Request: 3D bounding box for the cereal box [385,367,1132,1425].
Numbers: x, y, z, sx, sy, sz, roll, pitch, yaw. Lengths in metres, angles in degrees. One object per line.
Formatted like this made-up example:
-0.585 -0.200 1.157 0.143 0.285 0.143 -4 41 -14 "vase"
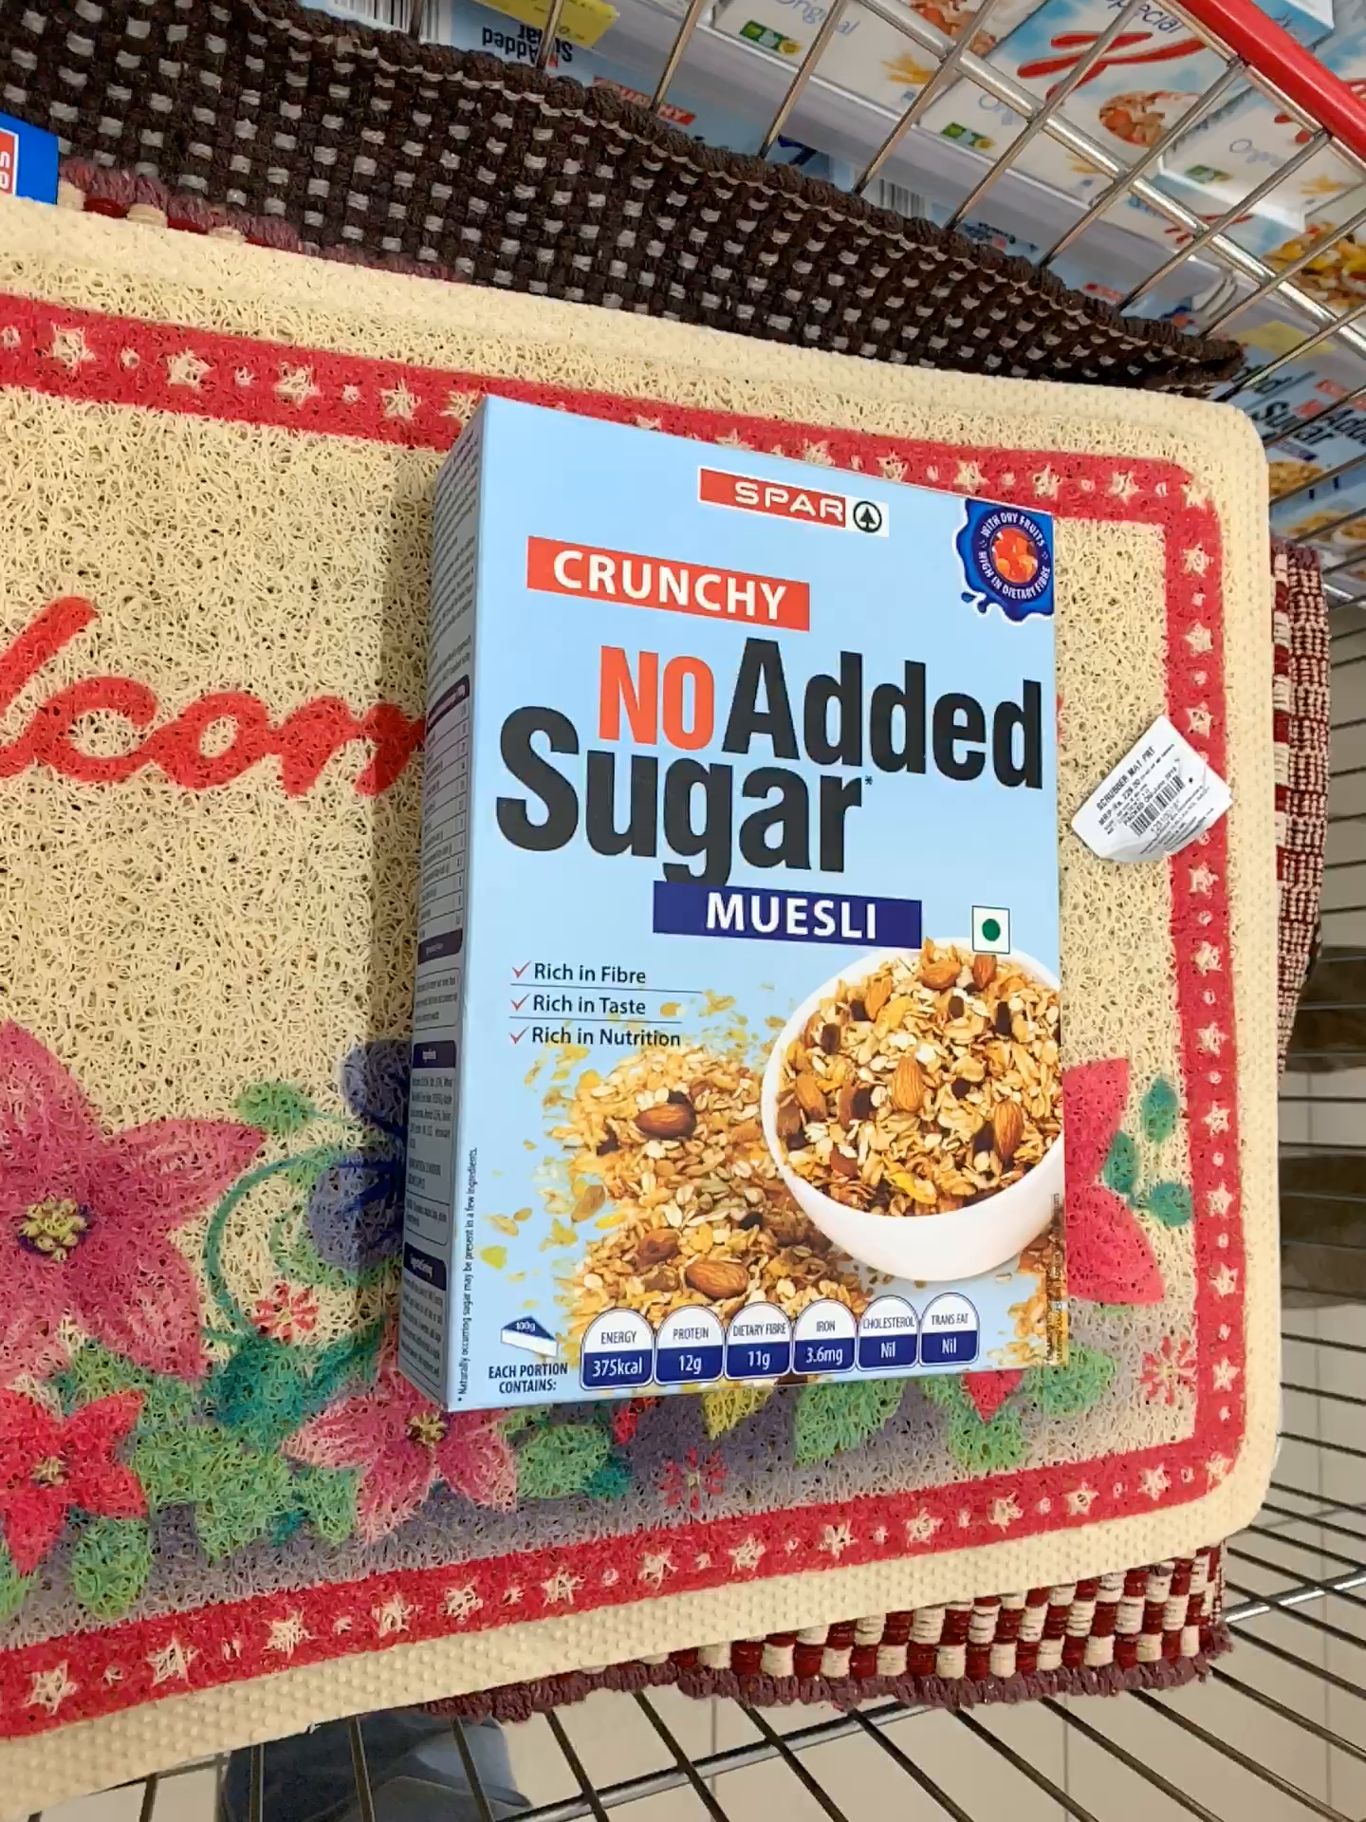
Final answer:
0.023 -0.001 0.361 0.181 0.050 0.230 3 83 -22 "cereal box"
